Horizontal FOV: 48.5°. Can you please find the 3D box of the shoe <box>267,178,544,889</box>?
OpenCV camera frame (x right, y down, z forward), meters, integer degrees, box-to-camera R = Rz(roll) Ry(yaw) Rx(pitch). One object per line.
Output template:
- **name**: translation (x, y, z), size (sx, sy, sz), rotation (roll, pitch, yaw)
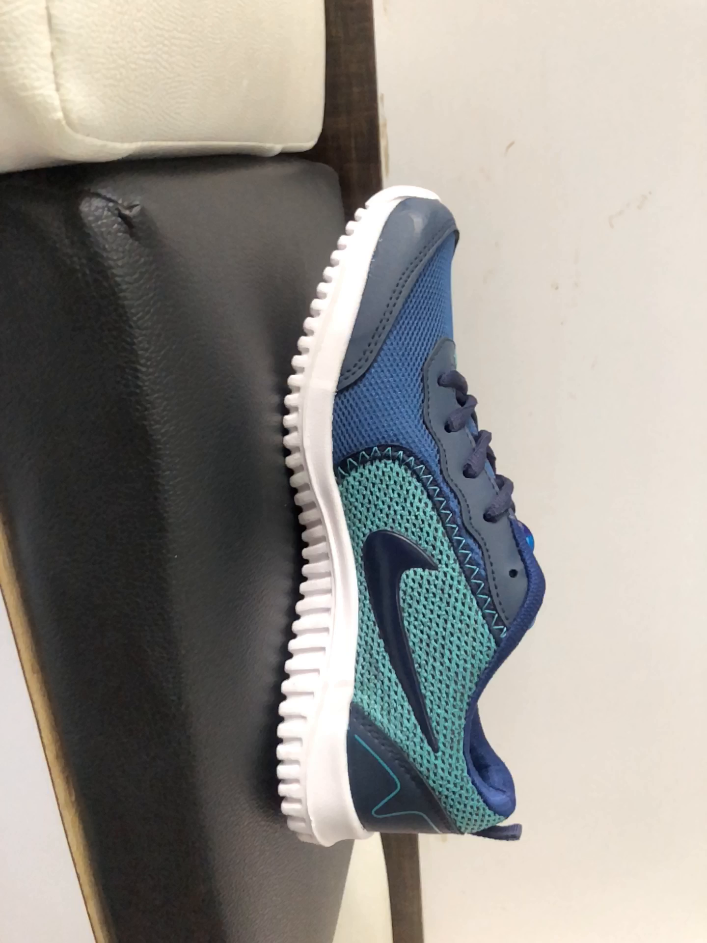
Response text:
- **shoe**: translation (0.030, 0.024, 0.359), size (0.130, 0.100, 0.260), rotation (33, 57, -79)
